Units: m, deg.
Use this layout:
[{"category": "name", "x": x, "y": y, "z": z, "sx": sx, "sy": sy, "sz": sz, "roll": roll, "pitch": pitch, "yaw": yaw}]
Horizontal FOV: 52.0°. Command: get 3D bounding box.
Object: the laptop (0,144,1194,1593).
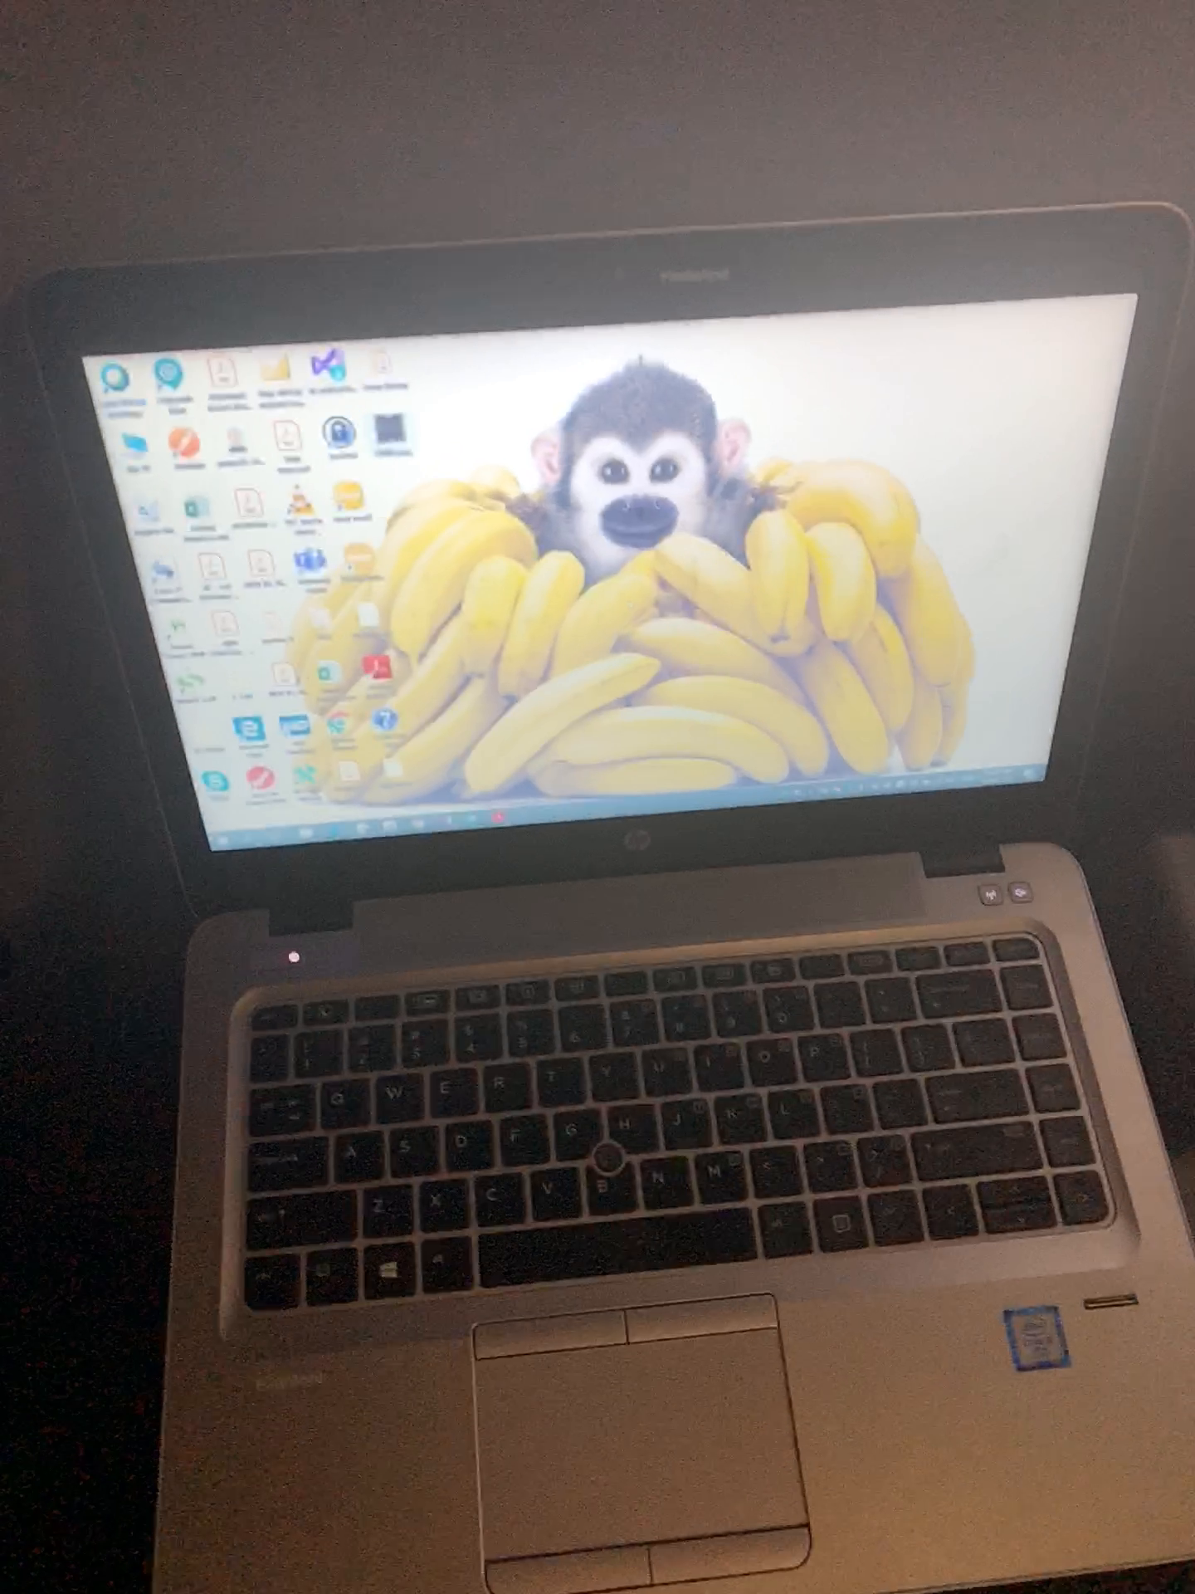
[{"category": "laptop", "x": 0.022, "y": 0.031, "z": 0.339, "sx": 0.318, "sy": 0.192, "sz": 0.326, "roll": -5, "pitch": 62, "yaw": -3}]
